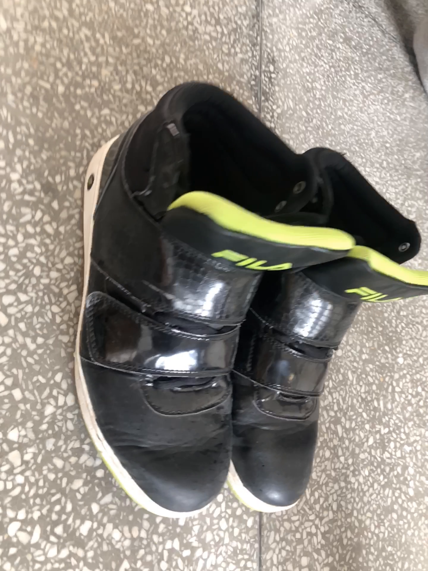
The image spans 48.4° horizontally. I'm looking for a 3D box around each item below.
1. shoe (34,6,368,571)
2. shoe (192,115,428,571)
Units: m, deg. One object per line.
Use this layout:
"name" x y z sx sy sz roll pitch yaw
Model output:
"shoe" -0.026 0.010 0.302 0.120 0.147 0.270 4 73 -38
"shoe" 0.077 0.042 0.348 0.120 0.147 0.250 11 68 -35
